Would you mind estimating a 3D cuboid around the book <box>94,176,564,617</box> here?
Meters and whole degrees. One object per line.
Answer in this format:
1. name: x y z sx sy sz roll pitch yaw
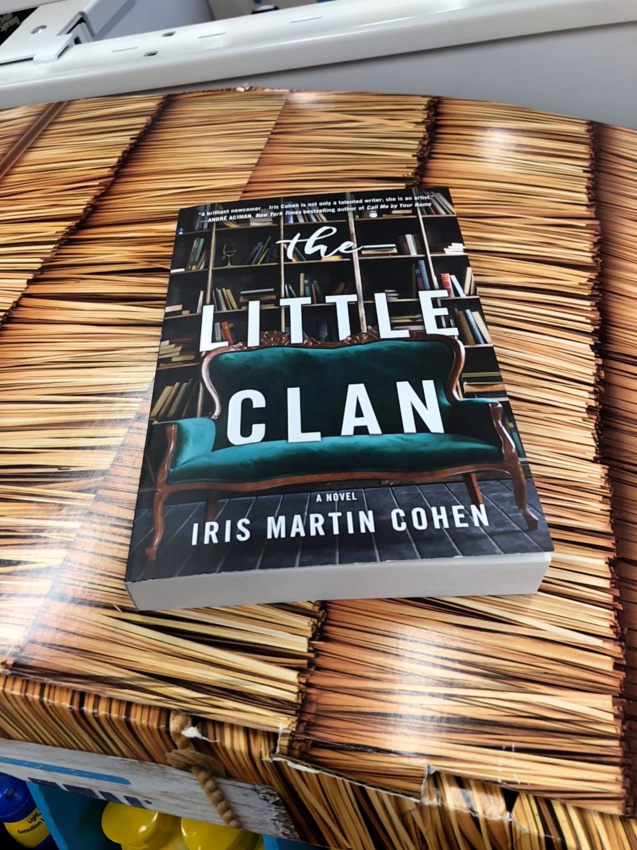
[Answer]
1. book: 0.001 -0.026 0.270 0.130 0.030 0.191 -4 49 2
